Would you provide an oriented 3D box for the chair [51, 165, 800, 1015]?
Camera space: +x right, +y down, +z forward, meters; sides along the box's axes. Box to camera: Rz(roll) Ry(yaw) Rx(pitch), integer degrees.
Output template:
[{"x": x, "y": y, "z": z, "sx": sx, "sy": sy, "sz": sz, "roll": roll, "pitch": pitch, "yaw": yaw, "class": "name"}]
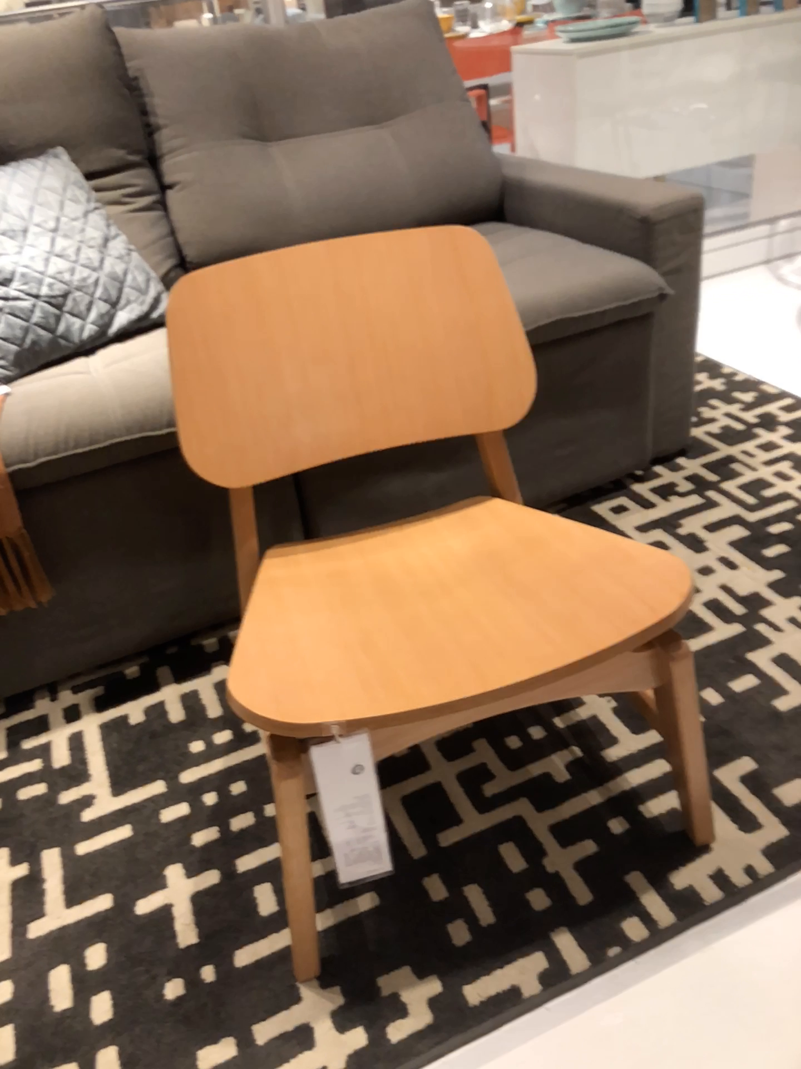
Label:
[{"x": 0.016, "y": -0.018, "z": 1.068, "sx": 0.640, "sy": 0.625, "sz": 0.655, "roll": -15, "pitch": 32, "yaw": -12, "class": "chair"}]
